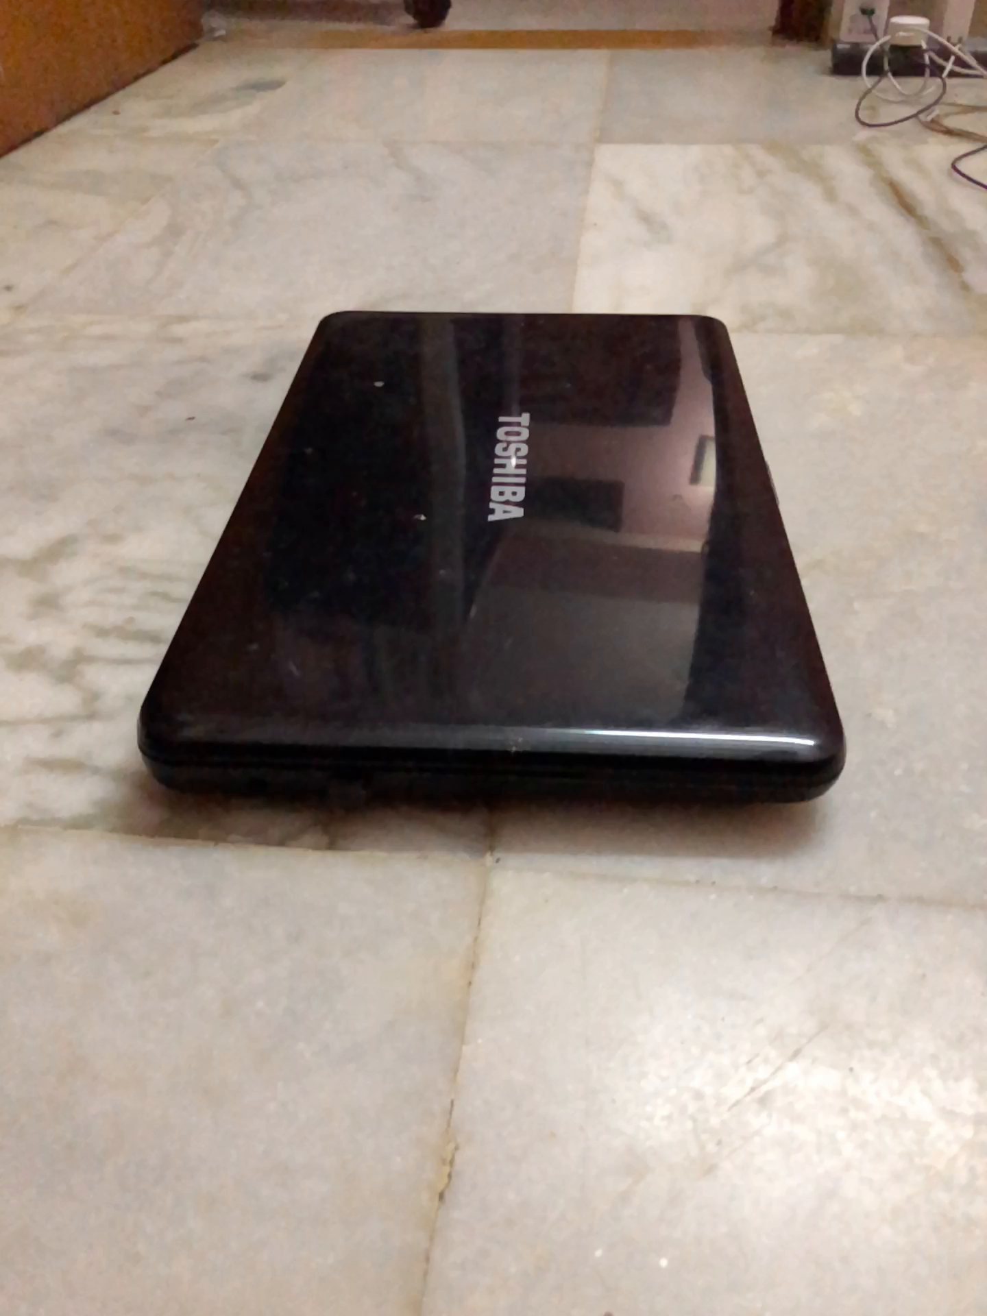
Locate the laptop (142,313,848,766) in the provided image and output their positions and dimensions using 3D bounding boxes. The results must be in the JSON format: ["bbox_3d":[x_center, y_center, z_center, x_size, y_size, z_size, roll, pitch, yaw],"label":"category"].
[{"bbox_3d":[0.009,-0.083,0.488,0.224,0.004,0.361,2,39,2],"label":"laptop"}]
